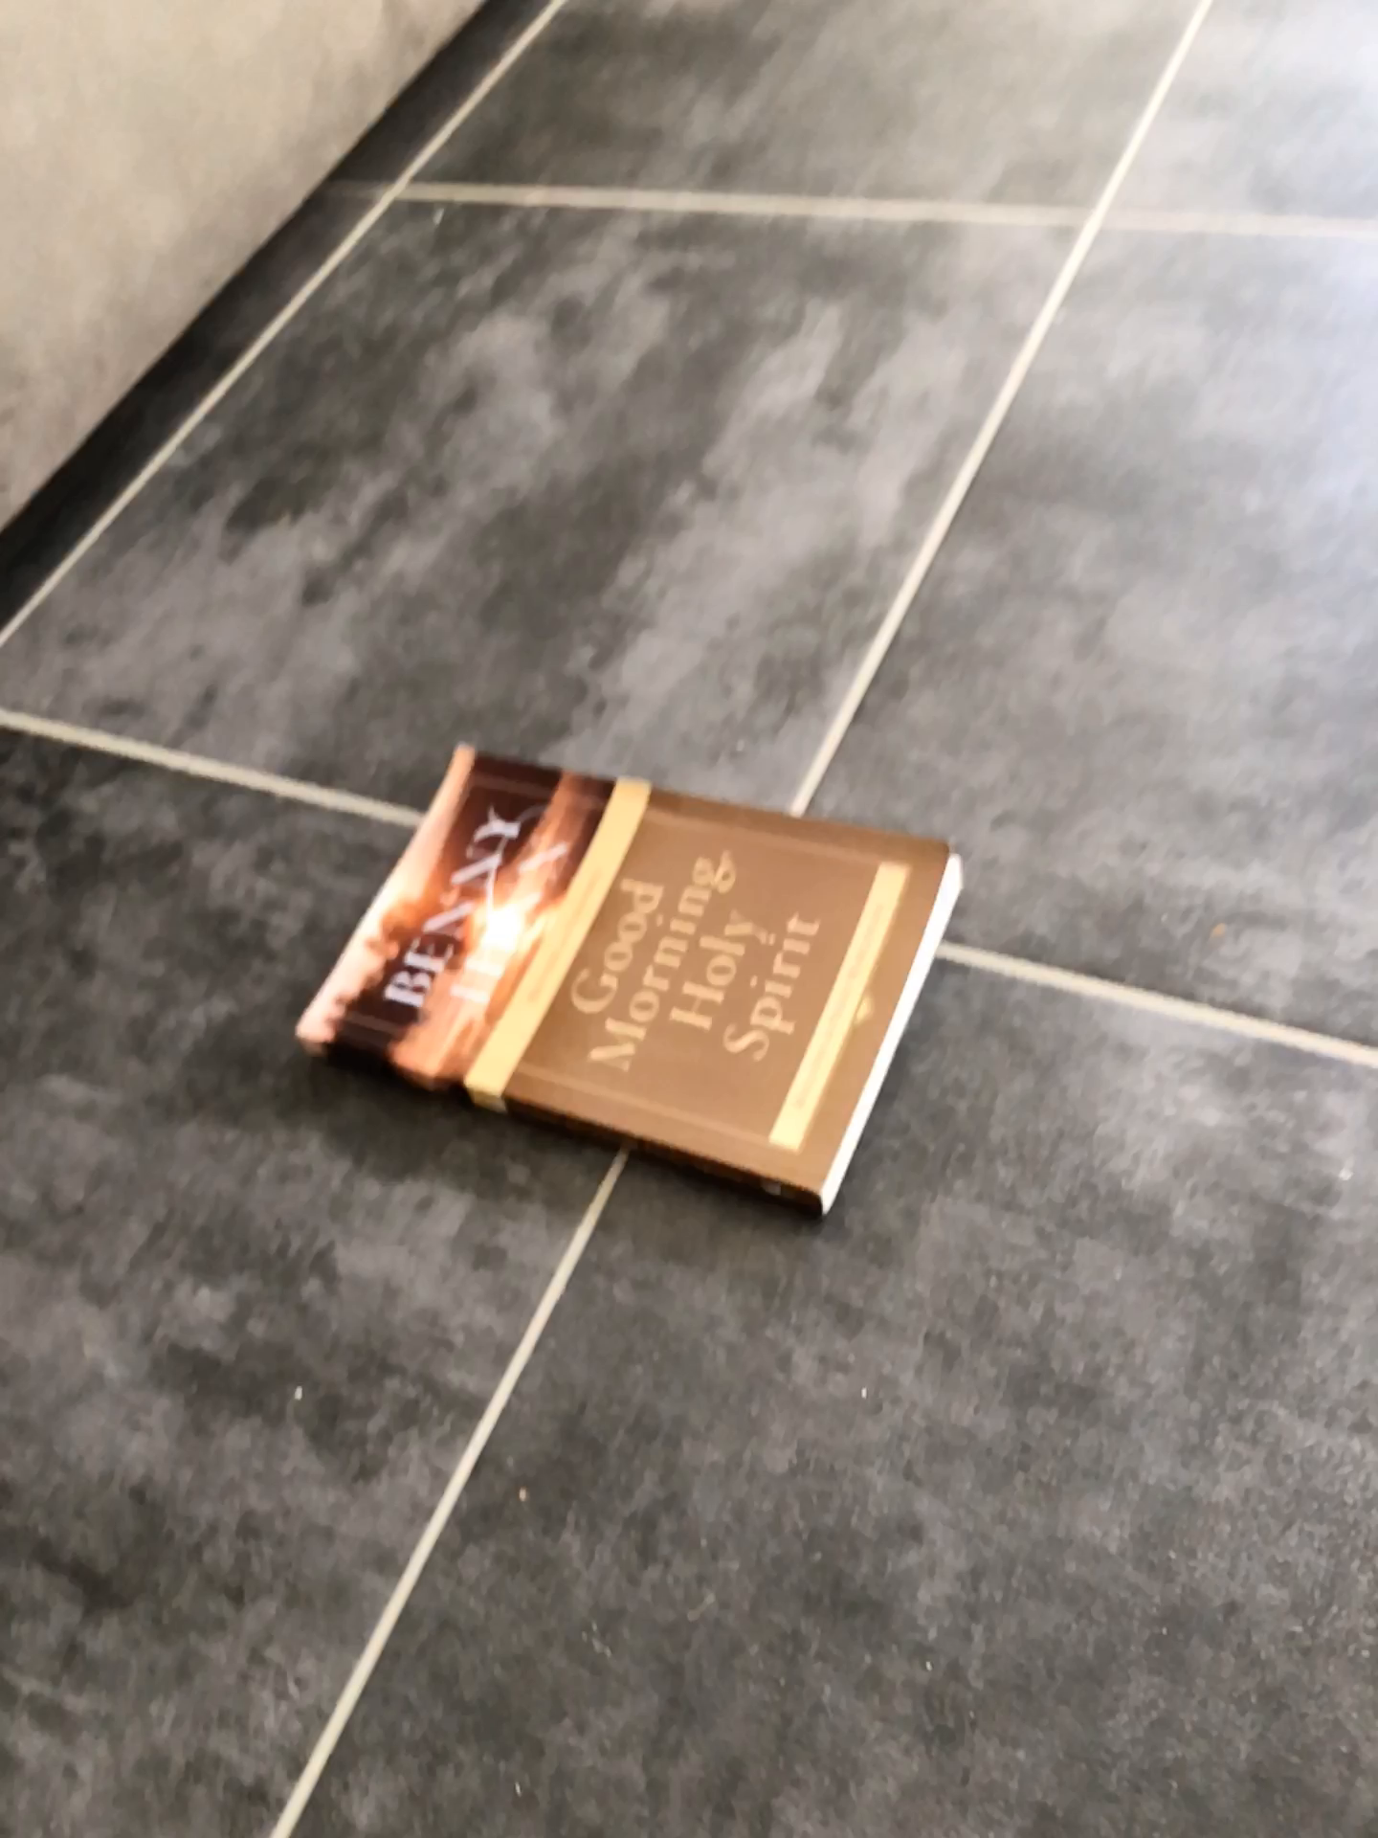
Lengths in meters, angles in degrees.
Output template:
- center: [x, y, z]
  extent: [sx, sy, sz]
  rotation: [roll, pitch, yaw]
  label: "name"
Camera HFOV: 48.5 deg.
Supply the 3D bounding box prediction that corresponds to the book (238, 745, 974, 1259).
- center: [-0.031, 0.018, 0.558]
  extent: [0.230, 0.020, 0.151]
  rotation: [13, 60, 23]
  label: "book"
